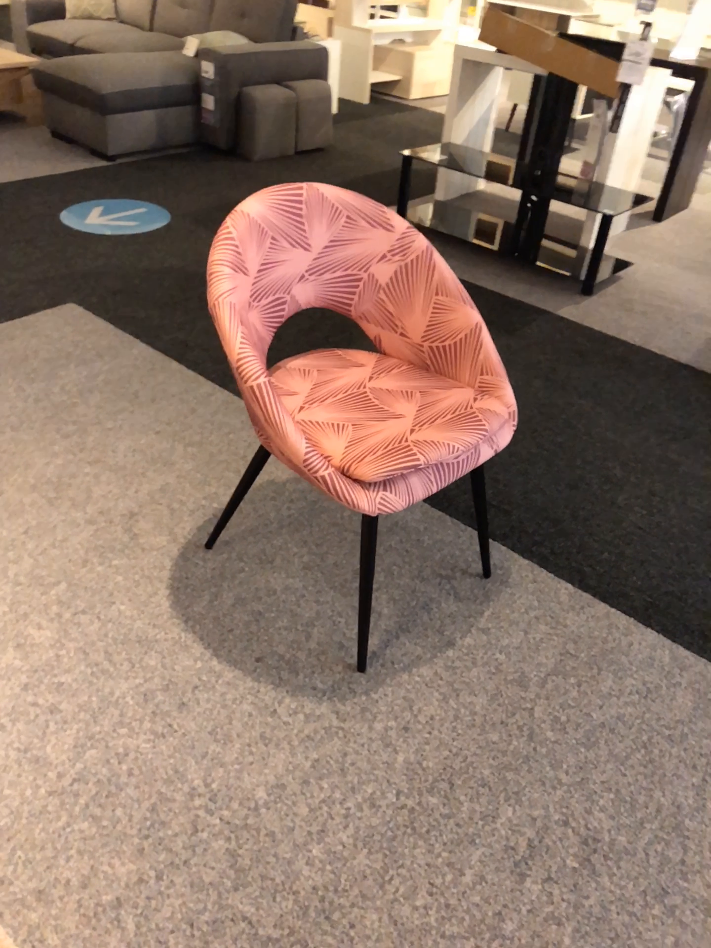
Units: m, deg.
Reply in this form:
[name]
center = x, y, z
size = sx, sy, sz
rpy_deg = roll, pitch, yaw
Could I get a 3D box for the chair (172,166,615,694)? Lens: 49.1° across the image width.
[chair]
center = 0.036, -0.125, 1.629
size = 0.600, 0.795, 0.533
rpy_deg = 33, 43, 32
